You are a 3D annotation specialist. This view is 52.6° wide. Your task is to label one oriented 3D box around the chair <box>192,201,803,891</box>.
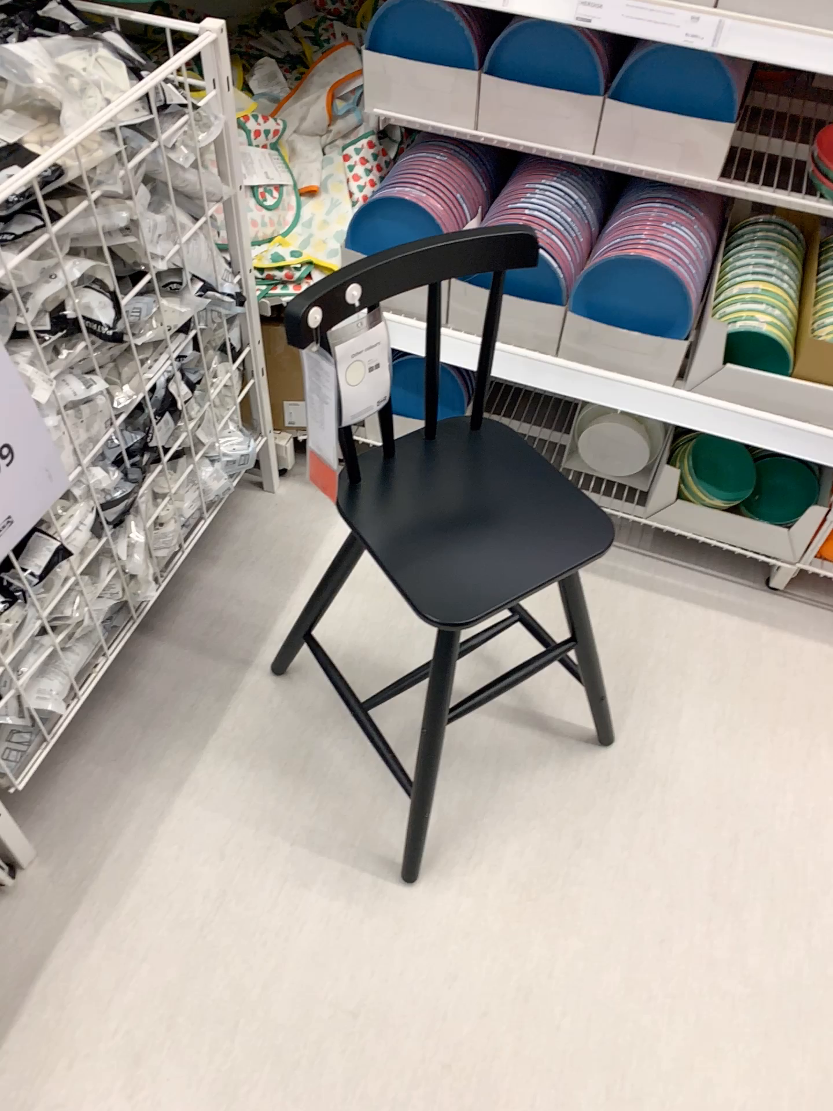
[{"bbox_3d":[0.051,0.018,1.110,0.420,0.688,0.461,-26,57,-22],"label":"chair"}]
